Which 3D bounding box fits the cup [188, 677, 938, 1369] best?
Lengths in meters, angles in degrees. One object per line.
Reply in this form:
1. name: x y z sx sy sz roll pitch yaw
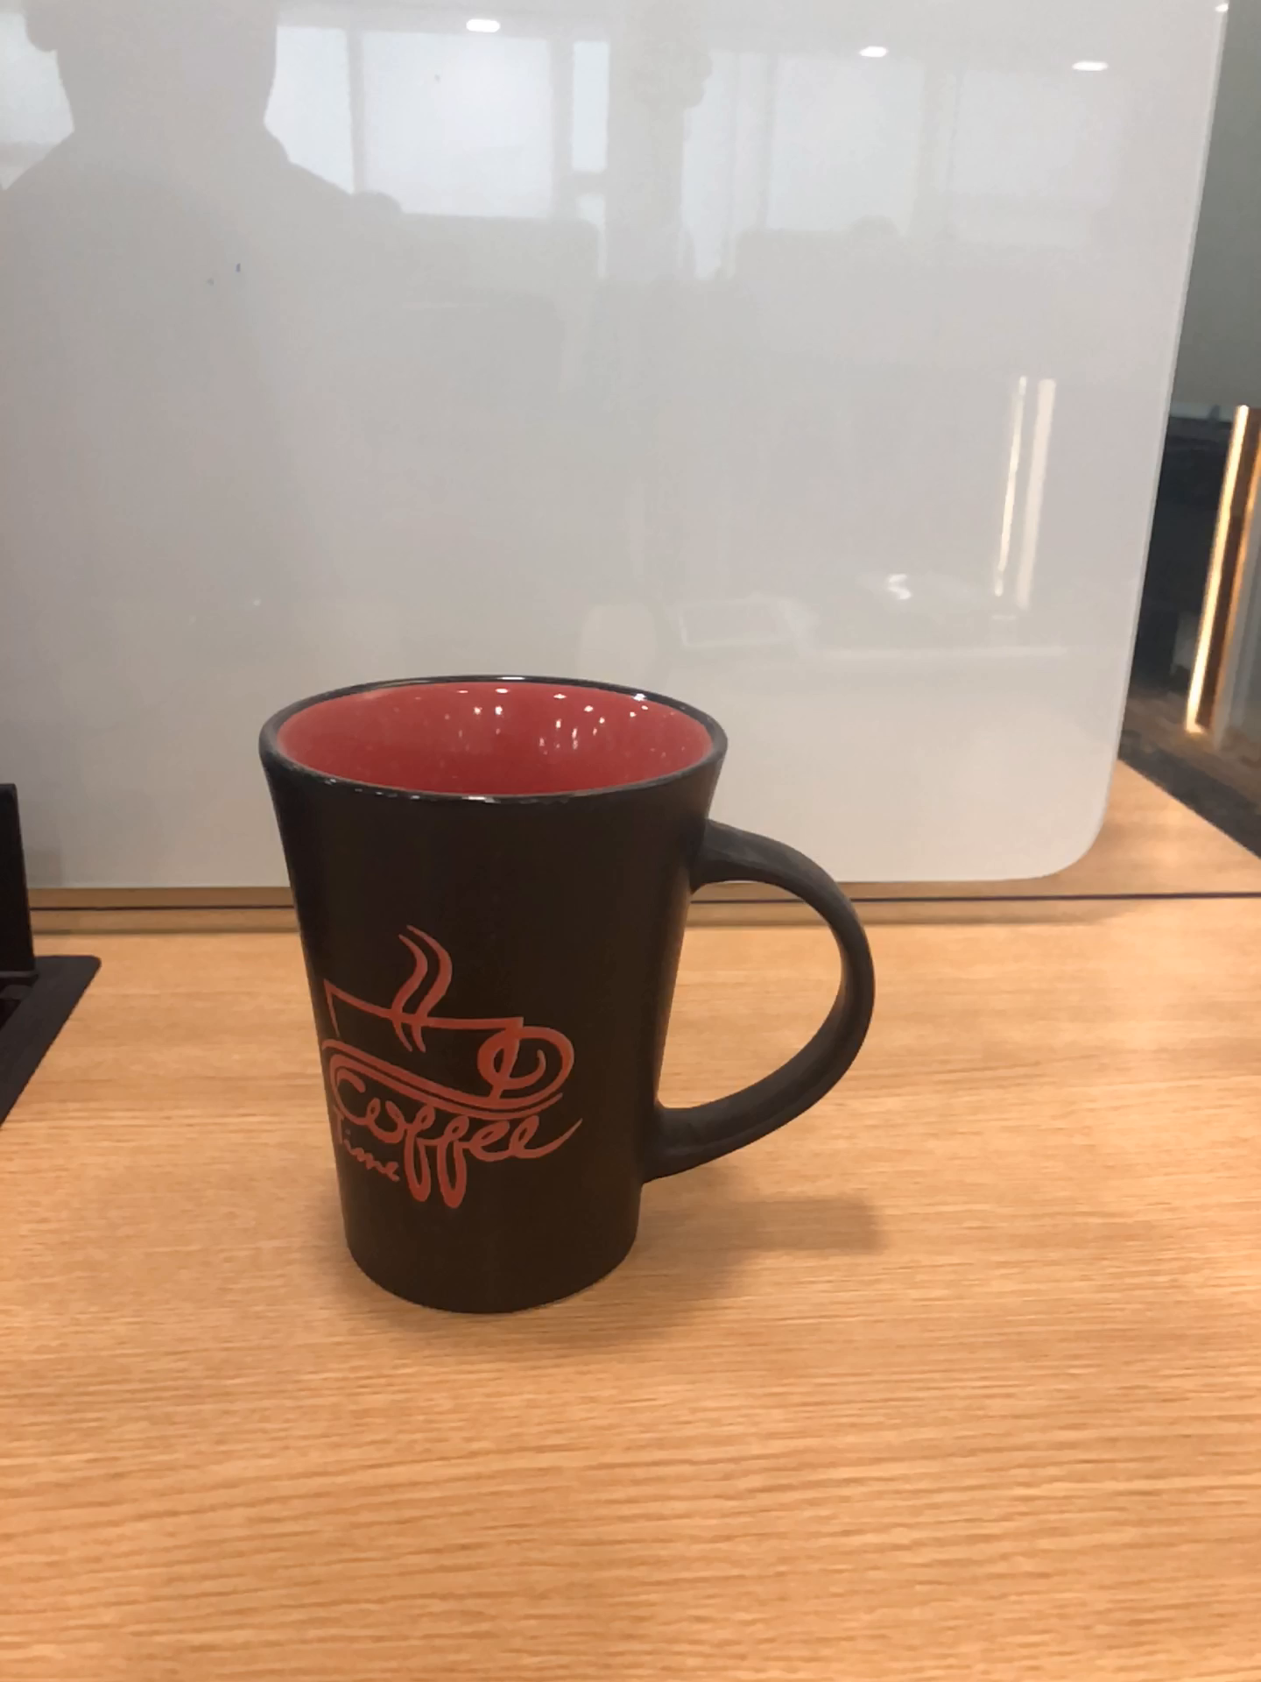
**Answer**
1. cup: -0.009 0.029 0.281 0.120 0.100 0.090 3 19 5
